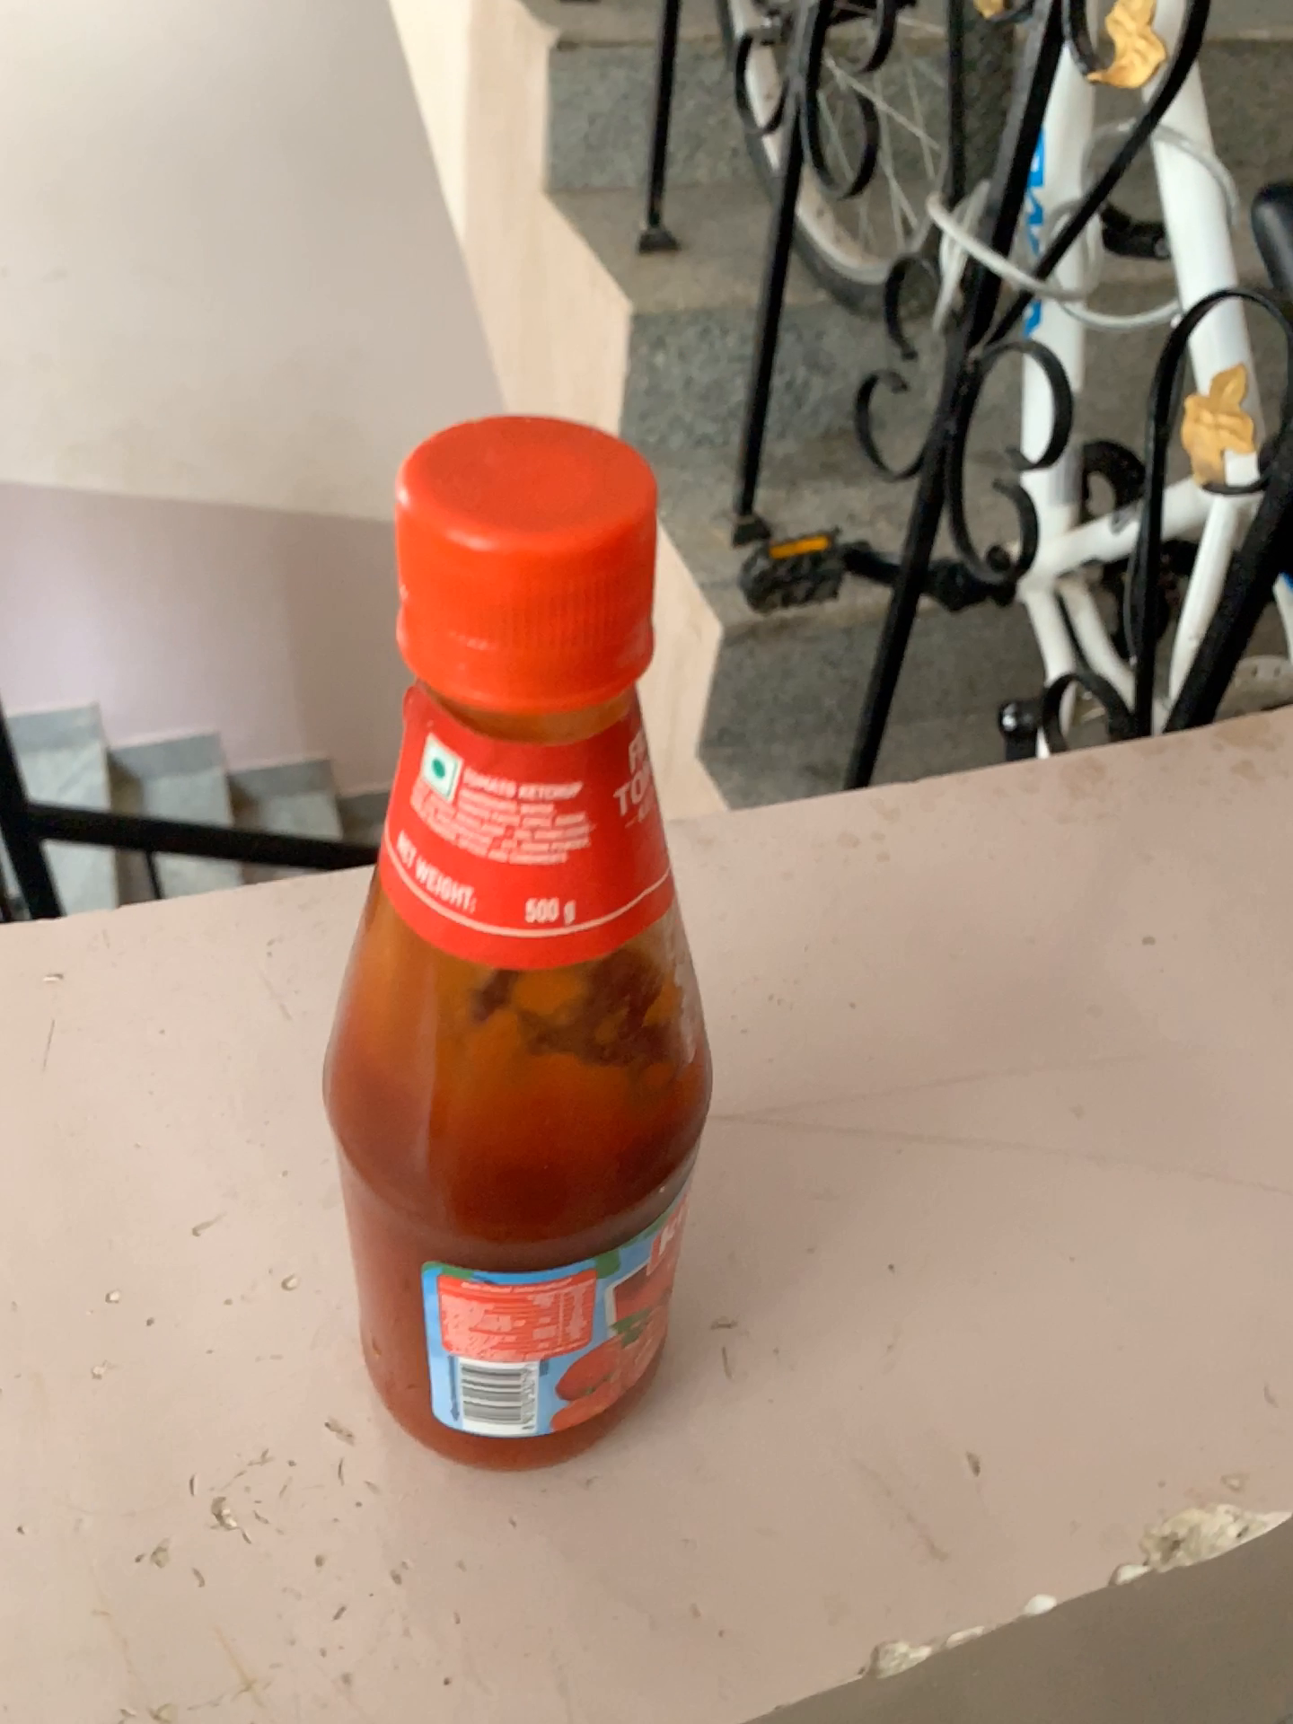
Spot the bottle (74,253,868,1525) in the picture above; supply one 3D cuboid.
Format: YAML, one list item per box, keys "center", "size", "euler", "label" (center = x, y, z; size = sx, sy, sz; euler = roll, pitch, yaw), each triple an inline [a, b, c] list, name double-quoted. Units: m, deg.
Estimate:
- center: [-0.023, 0.026, 0.231]
  size: [0.070, 0.218, 0.071]
  euler: [3, 44, -3]
  label: "bottle"
